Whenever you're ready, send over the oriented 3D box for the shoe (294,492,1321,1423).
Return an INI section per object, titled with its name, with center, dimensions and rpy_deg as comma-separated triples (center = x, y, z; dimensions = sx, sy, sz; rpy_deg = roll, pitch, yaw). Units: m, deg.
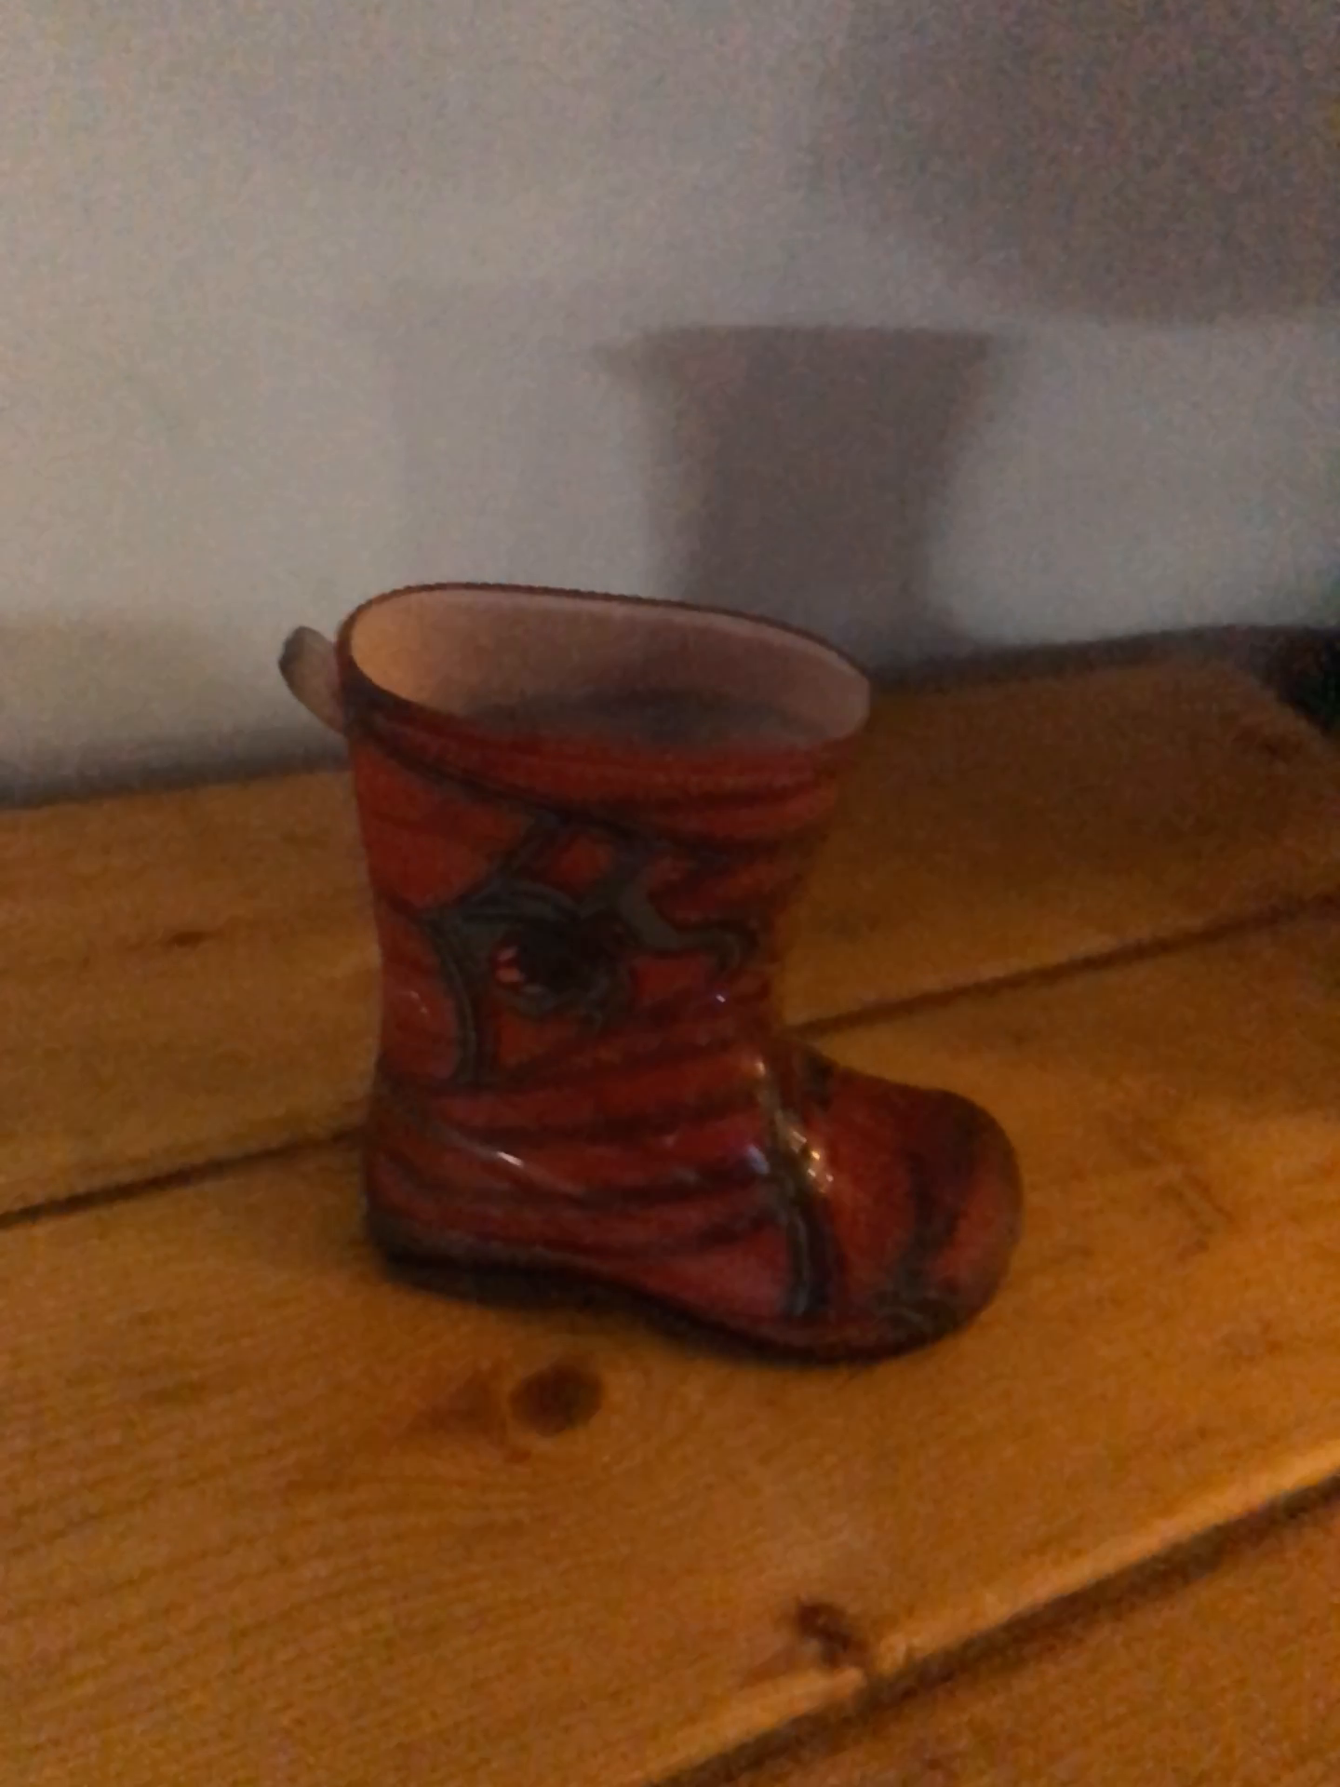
[shoe]
center = 0.011, 0.025, 0.314
dimensions = 0.160, 0.169, 0.080
rpy_deg = 8, 42, -7
